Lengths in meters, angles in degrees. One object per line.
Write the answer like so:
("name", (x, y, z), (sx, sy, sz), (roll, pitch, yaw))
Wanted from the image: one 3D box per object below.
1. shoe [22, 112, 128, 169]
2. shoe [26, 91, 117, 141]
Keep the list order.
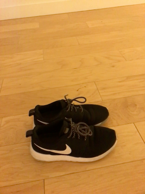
("shoe", (0.005, 0.126, 0.468), (0.270, 0.070, 0.121), (-5, 44, 0))
("shoe", (-0.004, 0.060, 0.534), (0.270, 0.070, 0.131), (-5, 44, 0))
